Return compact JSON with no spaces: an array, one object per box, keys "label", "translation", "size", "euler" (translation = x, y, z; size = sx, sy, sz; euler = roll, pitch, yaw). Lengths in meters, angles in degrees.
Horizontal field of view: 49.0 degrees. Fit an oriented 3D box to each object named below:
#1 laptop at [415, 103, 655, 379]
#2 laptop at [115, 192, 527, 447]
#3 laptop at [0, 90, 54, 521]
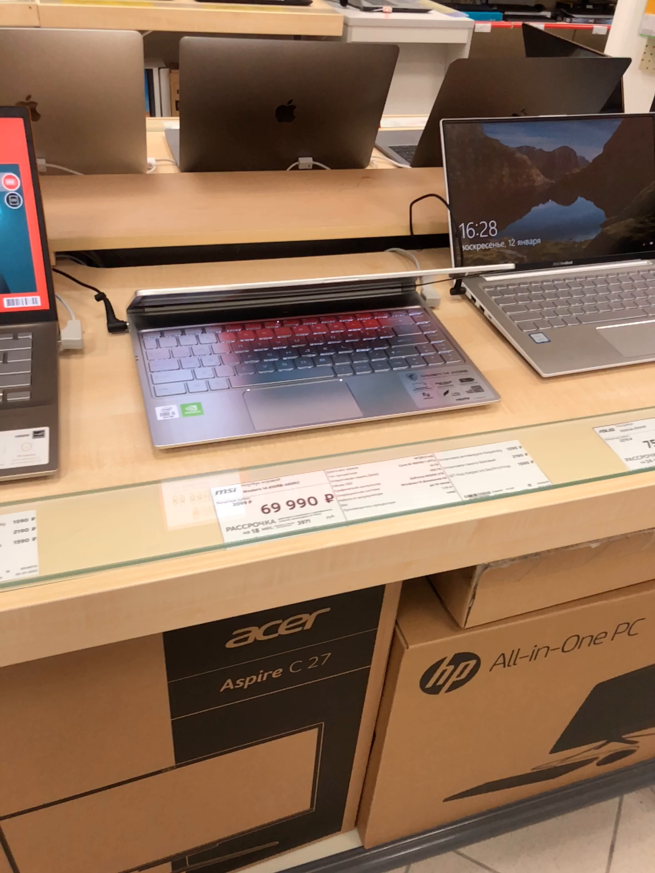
[{"label":"laptop","translation":[0.323,-0.245,0.833],"size":[0.325,0.154,0.302],"euler":[-10,44,-17]},{"label":"laptop","translation":[-0.019,-0.127,0.679],"size":[0.321,0.112,0.217],"euler":[-8,41,-16]},{"label":"laptop","translation":[-0.398,-0.131,0.567],"size":[0.310,0.169,0.315],"euler":[-7,41,-17]}]
